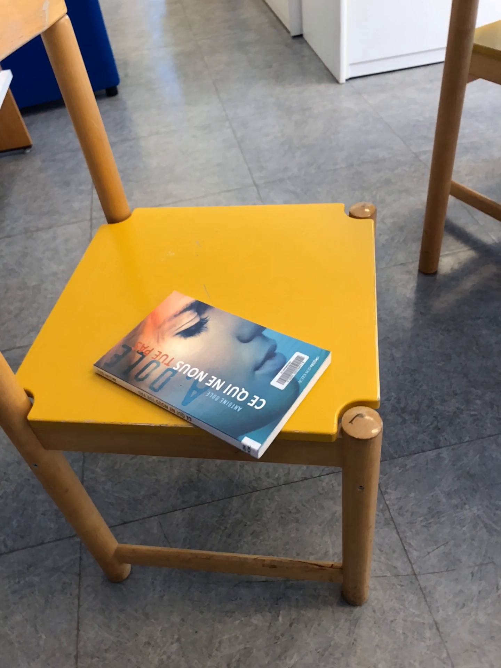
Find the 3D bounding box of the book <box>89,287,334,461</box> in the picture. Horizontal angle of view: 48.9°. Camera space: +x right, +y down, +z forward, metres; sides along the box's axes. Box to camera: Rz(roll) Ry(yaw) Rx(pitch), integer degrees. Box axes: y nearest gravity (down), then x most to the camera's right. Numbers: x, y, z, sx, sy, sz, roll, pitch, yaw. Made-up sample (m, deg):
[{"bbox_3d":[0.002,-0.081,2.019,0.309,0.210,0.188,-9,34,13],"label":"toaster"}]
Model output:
[{"bbox_3d":[-0.042,0.028,0.568,0.212,0.016,0.141,21,51,28],"label":"book"}]
